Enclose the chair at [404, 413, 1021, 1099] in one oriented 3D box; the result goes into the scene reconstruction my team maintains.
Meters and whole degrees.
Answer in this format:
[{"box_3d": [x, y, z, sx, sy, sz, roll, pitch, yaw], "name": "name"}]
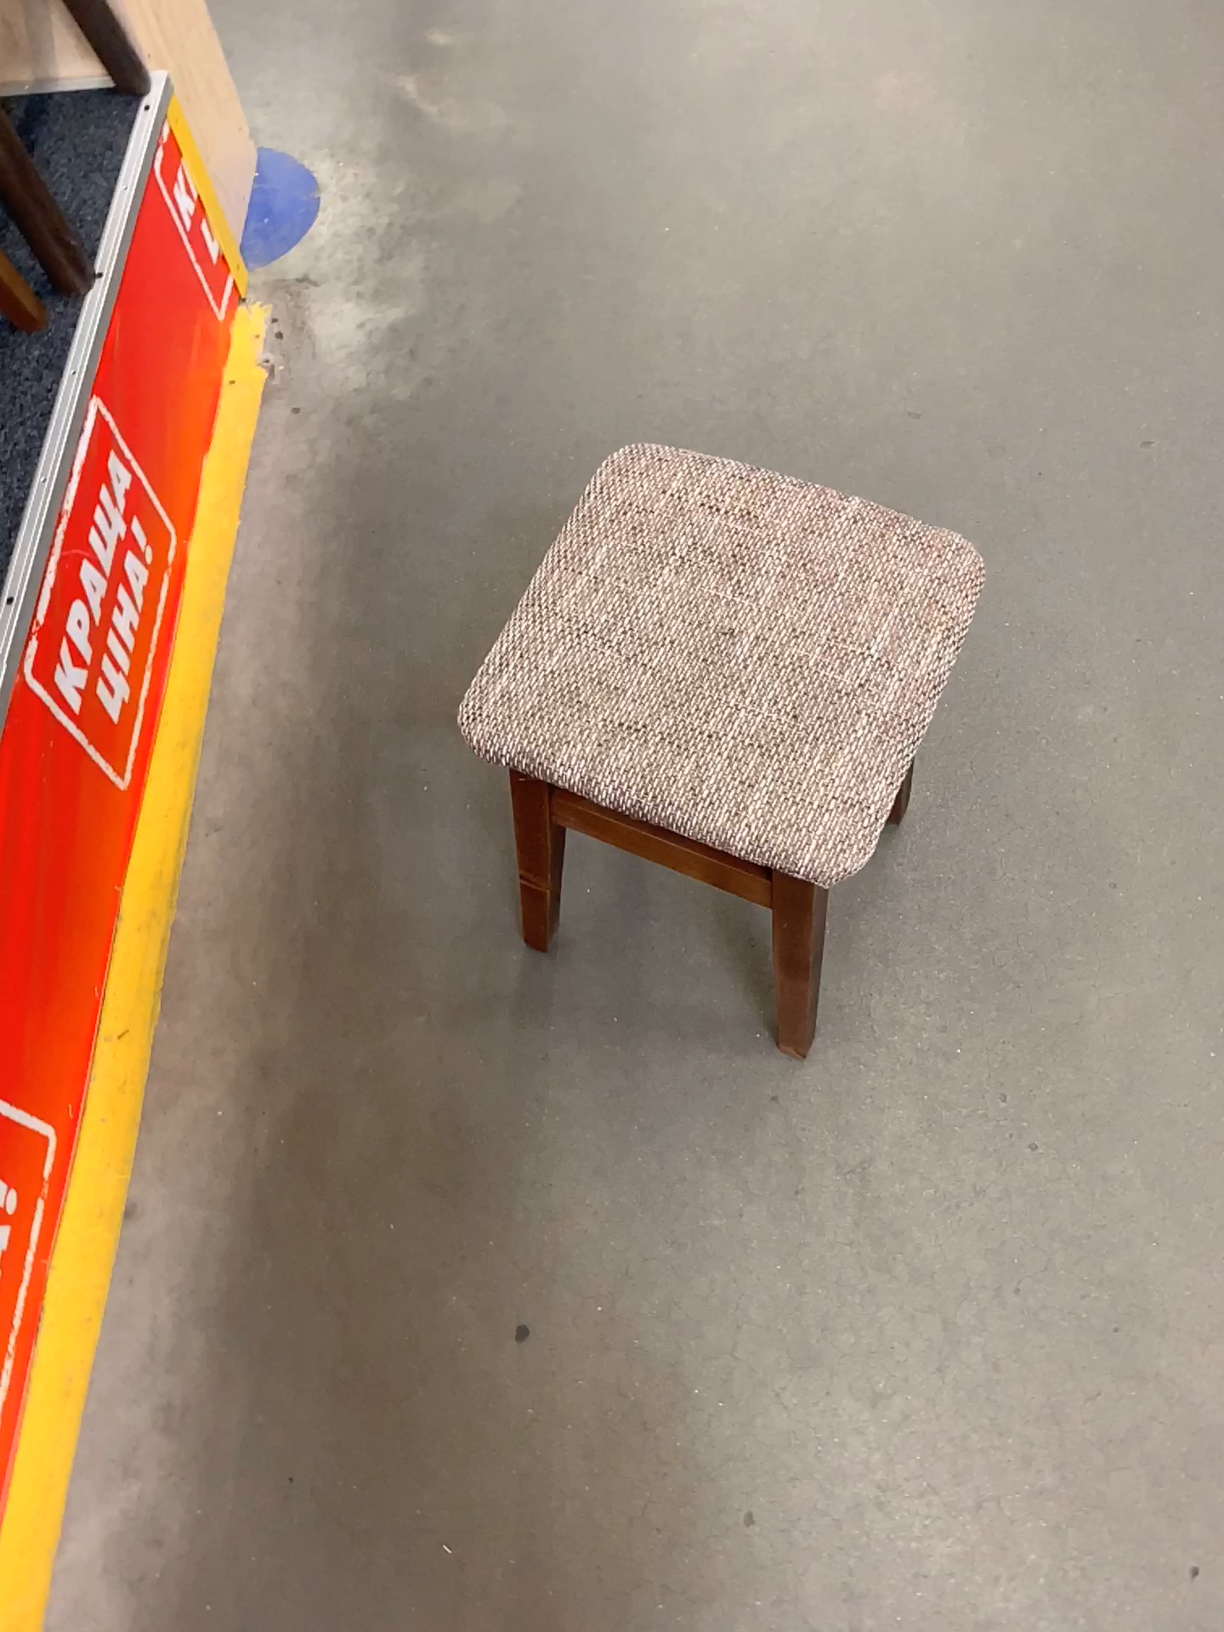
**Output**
[{"box_3d": [0.099, -0.028, 1.150, 0.360, 0.479, 0.340, 20, 66, 15], "name": "chair"}]
